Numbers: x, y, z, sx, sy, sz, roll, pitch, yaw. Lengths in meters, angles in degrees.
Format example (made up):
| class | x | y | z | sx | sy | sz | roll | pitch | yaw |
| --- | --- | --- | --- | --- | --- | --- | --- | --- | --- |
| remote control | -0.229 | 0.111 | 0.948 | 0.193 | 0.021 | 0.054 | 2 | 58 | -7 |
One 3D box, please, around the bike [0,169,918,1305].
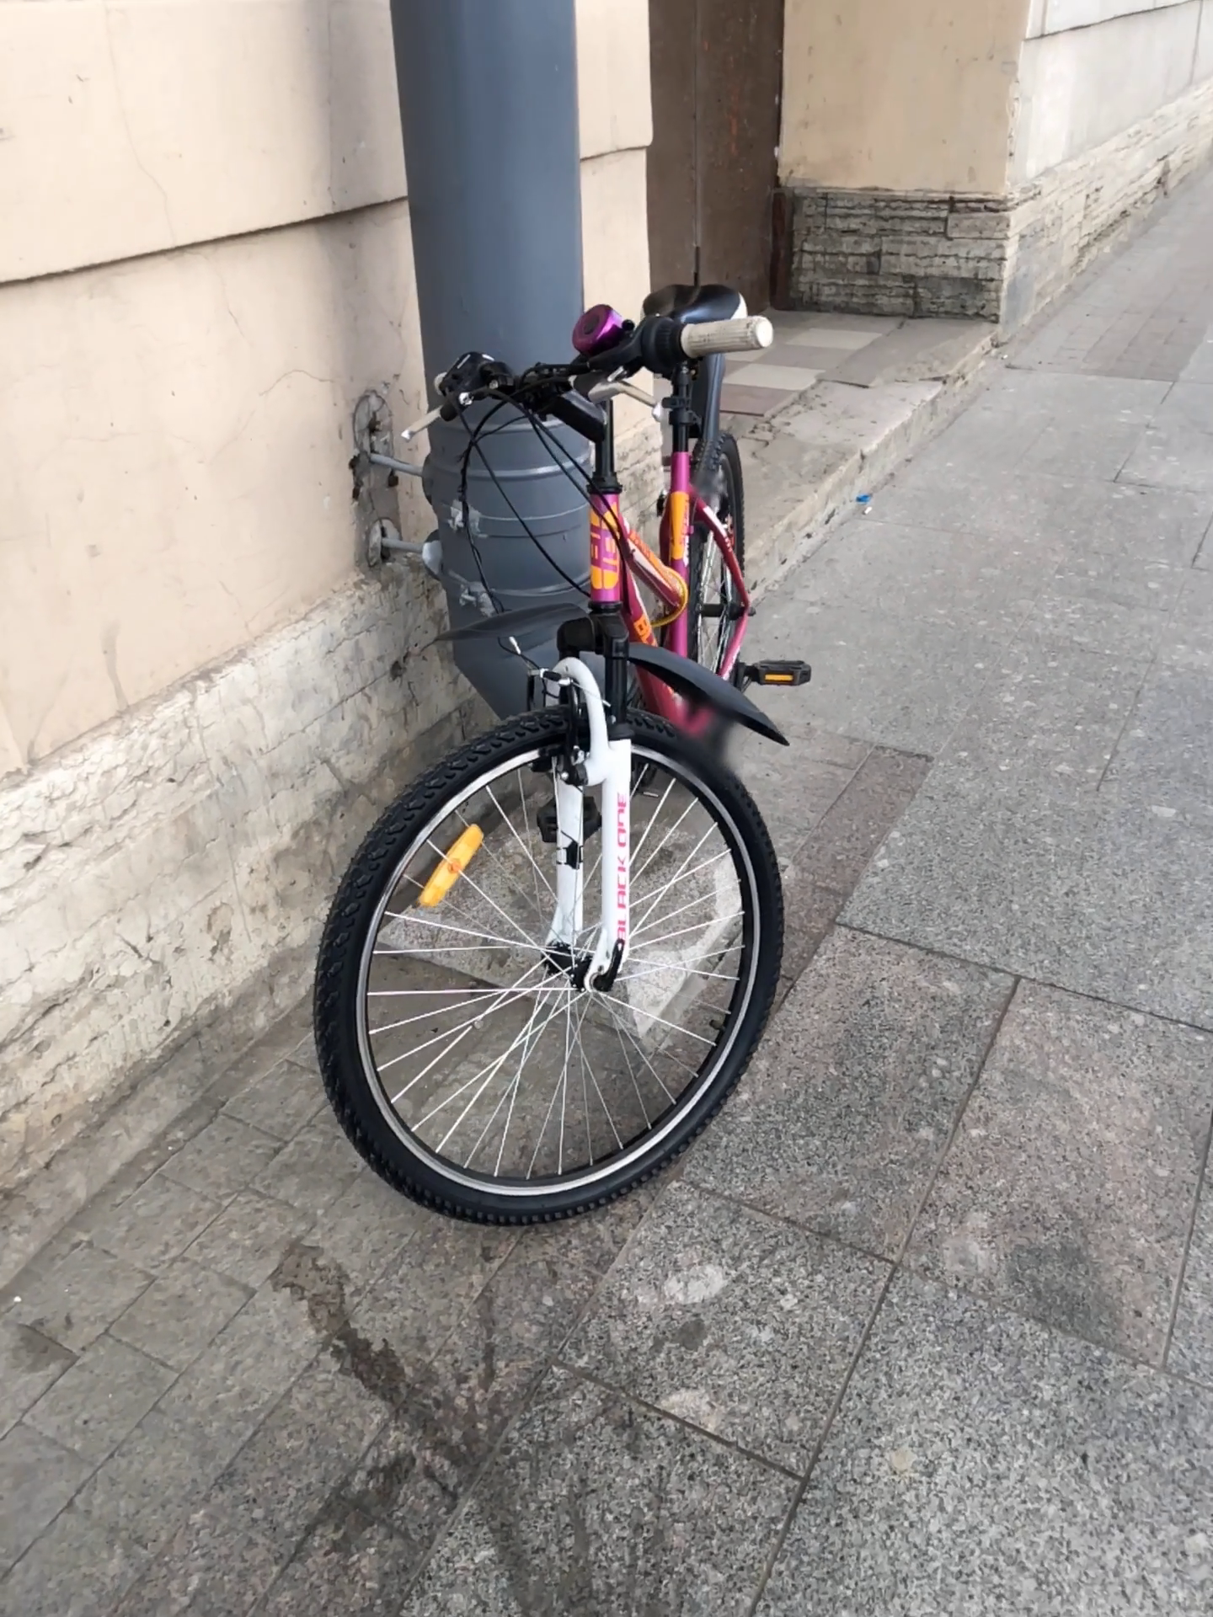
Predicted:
| class | x | y | z | sx | sy | sz | roll | pitch | yaw |
| --- | --- | --- | --- | --- | --- | --- | --- | --- | --- |
| bike | -0.050 | -0.287 | 1.954 | 0.623 | 0.974 | 1.582 | 10 | 35 | 19 |
